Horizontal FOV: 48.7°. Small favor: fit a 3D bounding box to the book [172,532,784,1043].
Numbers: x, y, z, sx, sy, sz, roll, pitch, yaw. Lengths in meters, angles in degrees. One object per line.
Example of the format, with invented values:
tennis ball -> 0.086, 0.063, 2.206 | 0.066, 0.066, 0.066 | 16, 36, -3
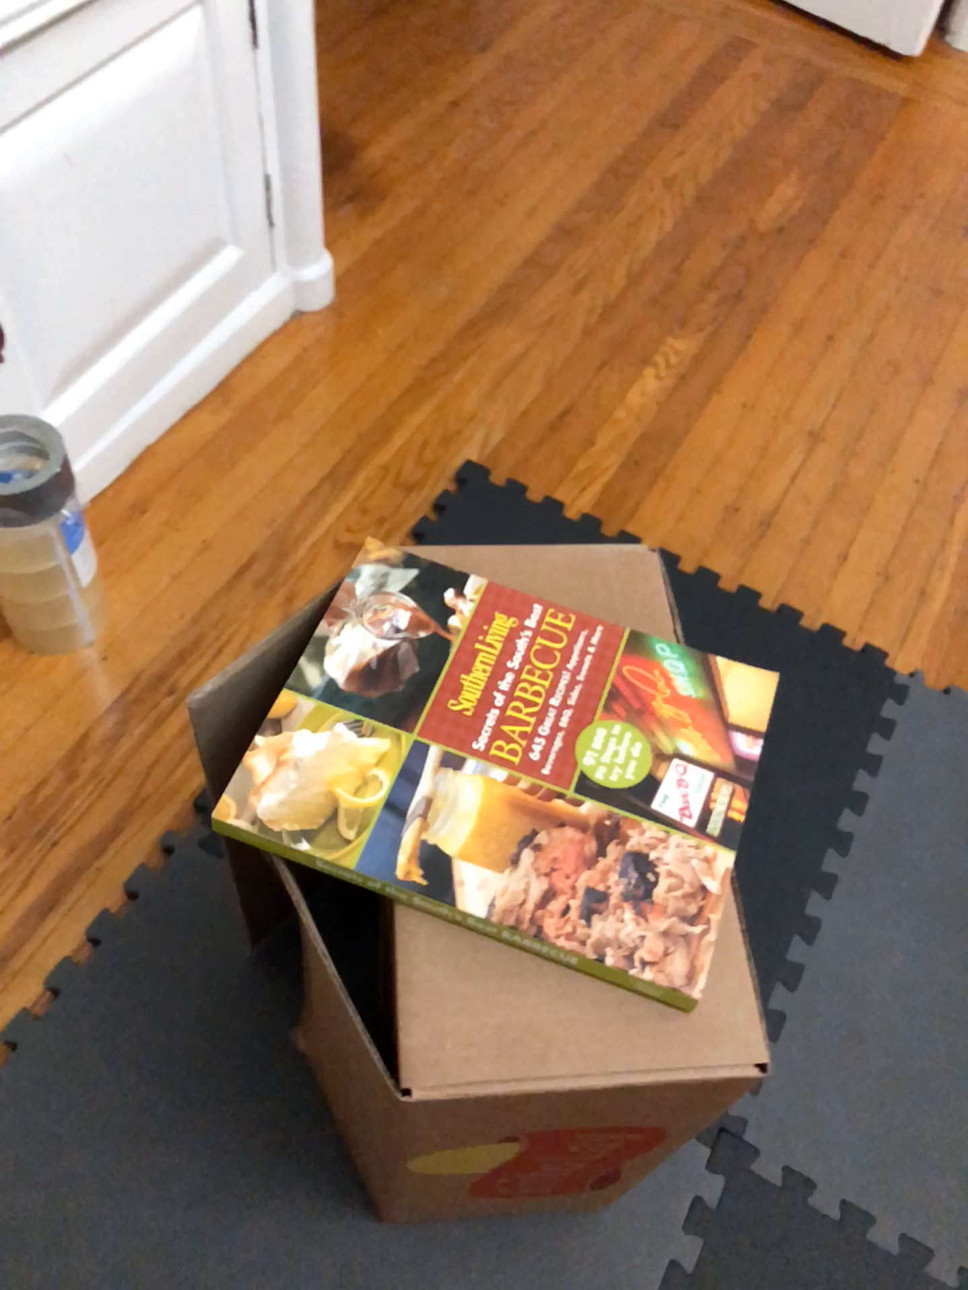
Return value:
book -> 0.008, 0.065, 0.616 | 0.290, 0.020, 0.221 | 20, 56, 7
